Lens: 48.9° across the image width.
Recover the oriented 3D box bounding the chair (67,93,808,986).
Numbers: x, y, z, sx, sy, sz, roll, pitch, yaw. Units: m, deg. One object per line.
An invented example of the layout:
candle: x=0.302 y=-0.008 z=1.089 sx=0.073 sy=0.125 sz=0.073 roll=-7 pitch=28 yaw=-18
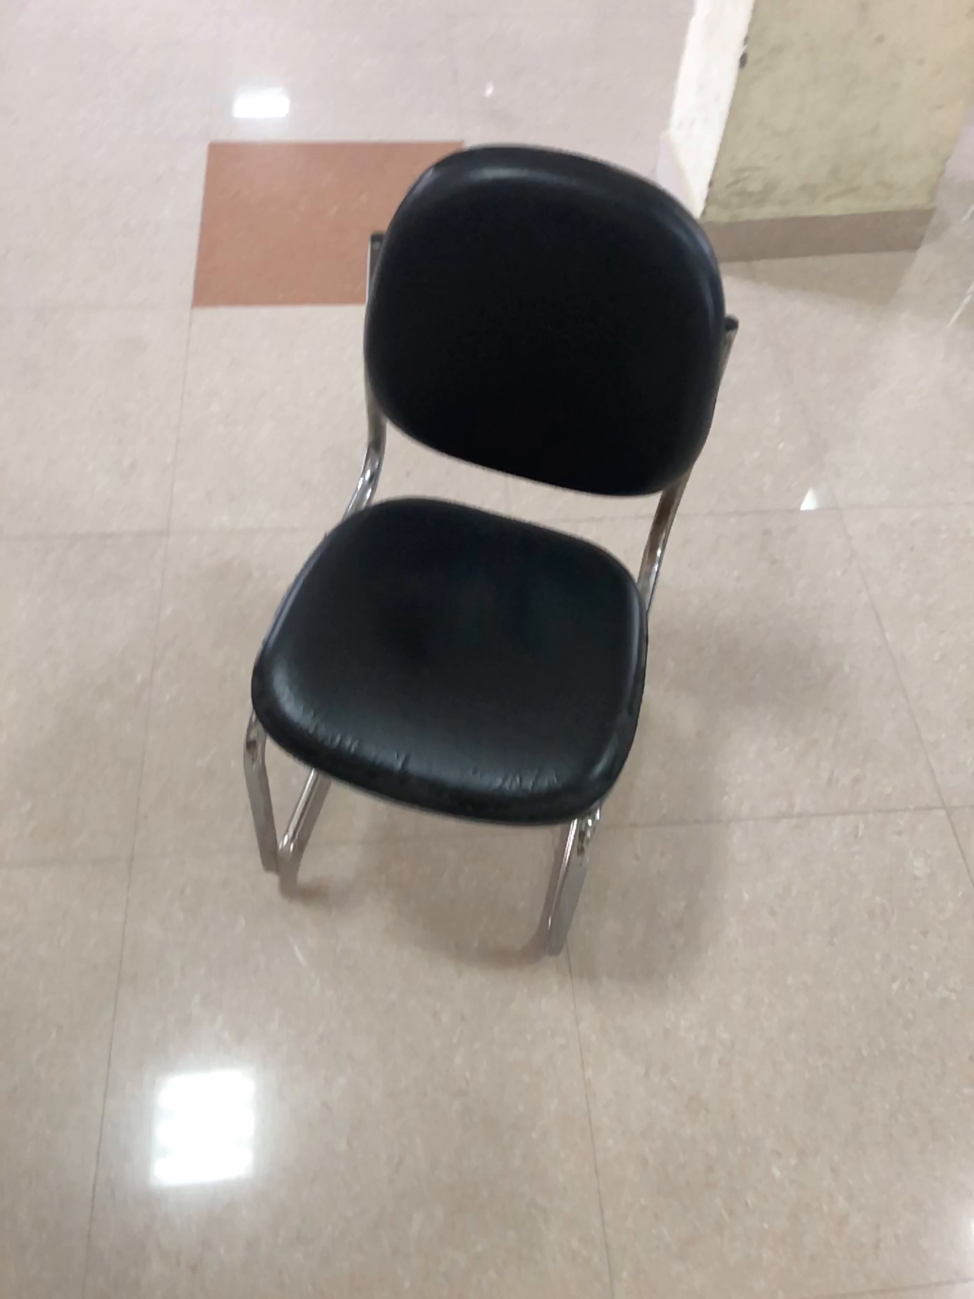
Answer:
chair: x=-0.011 y=-0.077 z=1.242 sx=0.500 sy=0.759 sz=0.591 roll=13 pitch=56 yaw=6
